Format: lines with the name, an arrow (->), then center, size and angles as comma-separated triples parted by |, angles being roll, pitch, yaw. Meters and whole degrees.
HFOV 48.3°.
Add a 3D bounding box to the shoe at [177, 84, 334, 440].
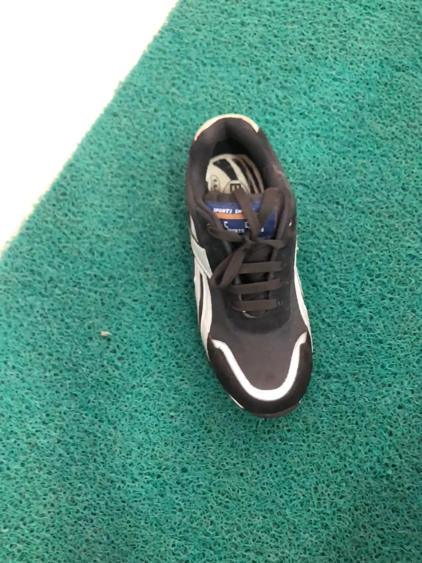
shoe -> 0.034, -0.015, 0.435 | 0.100, 0.110, 0.290 | -5, 77, 3
